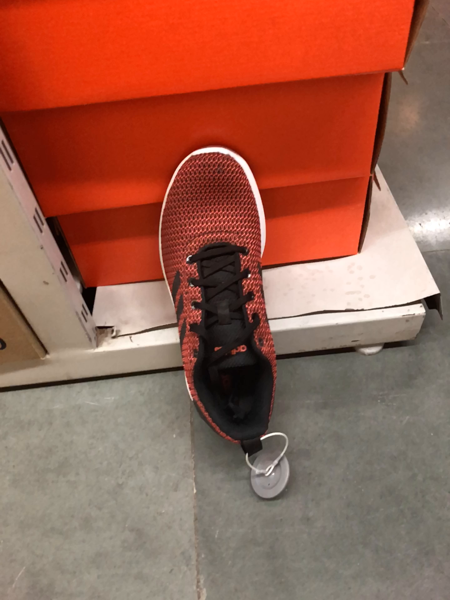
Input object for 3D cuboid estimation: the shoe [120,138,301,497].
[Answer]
[{"bbox_3d":[-0.007,0.008,0.436,0.110,0.271,0.133,-5,15,-1],"label":"shoe"}]
